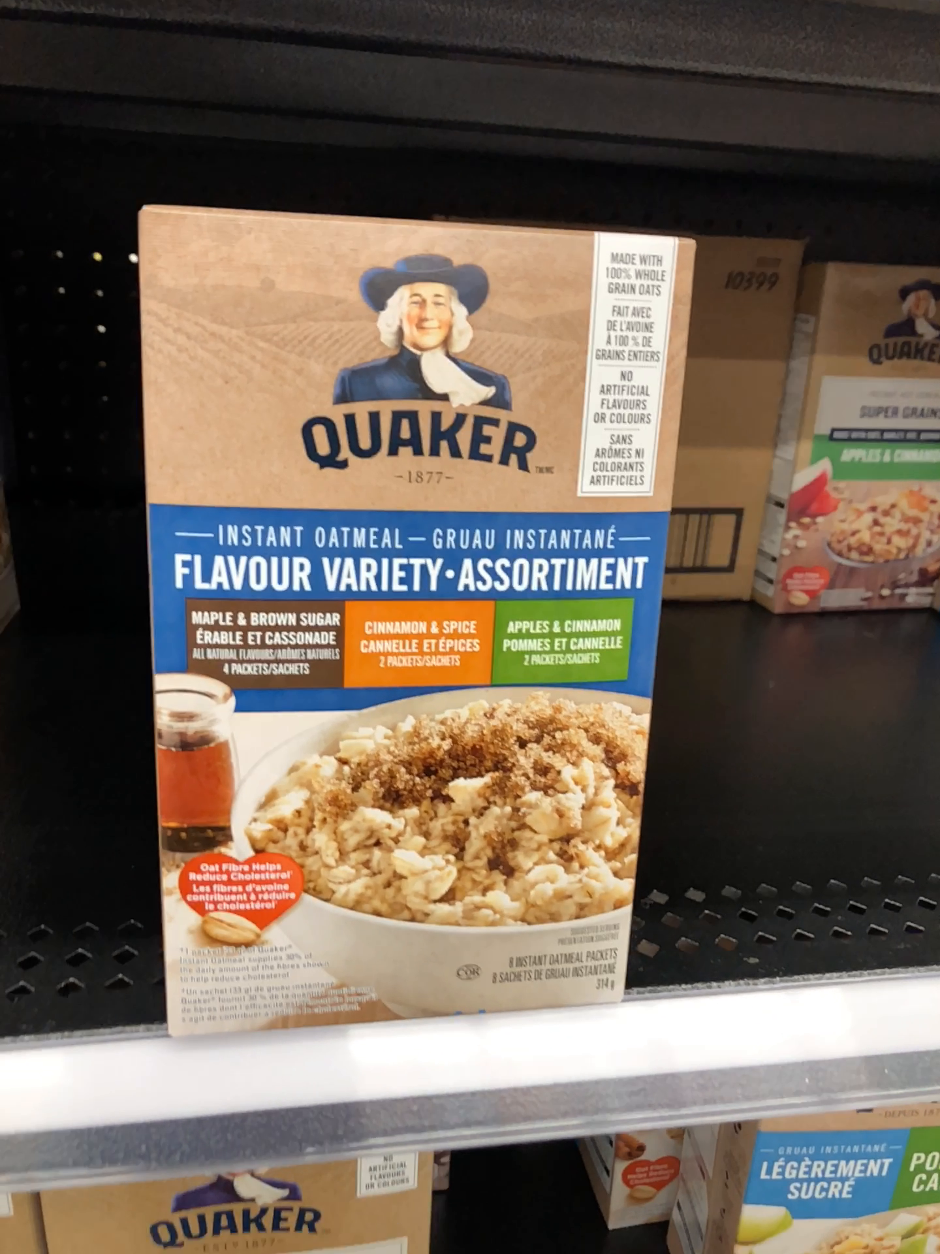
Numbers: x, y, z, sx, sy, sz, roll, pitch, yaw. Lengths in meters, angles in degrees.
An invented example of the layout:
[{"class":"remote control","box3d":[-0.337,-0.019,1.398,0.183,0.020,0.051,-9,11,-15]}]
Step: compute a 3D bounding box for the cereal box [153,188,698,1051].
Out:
[{"class":"cereal box","box3d":[-0.017,0.000,0.283,0.120,0.209,0.060,-1,16,-12]}]
